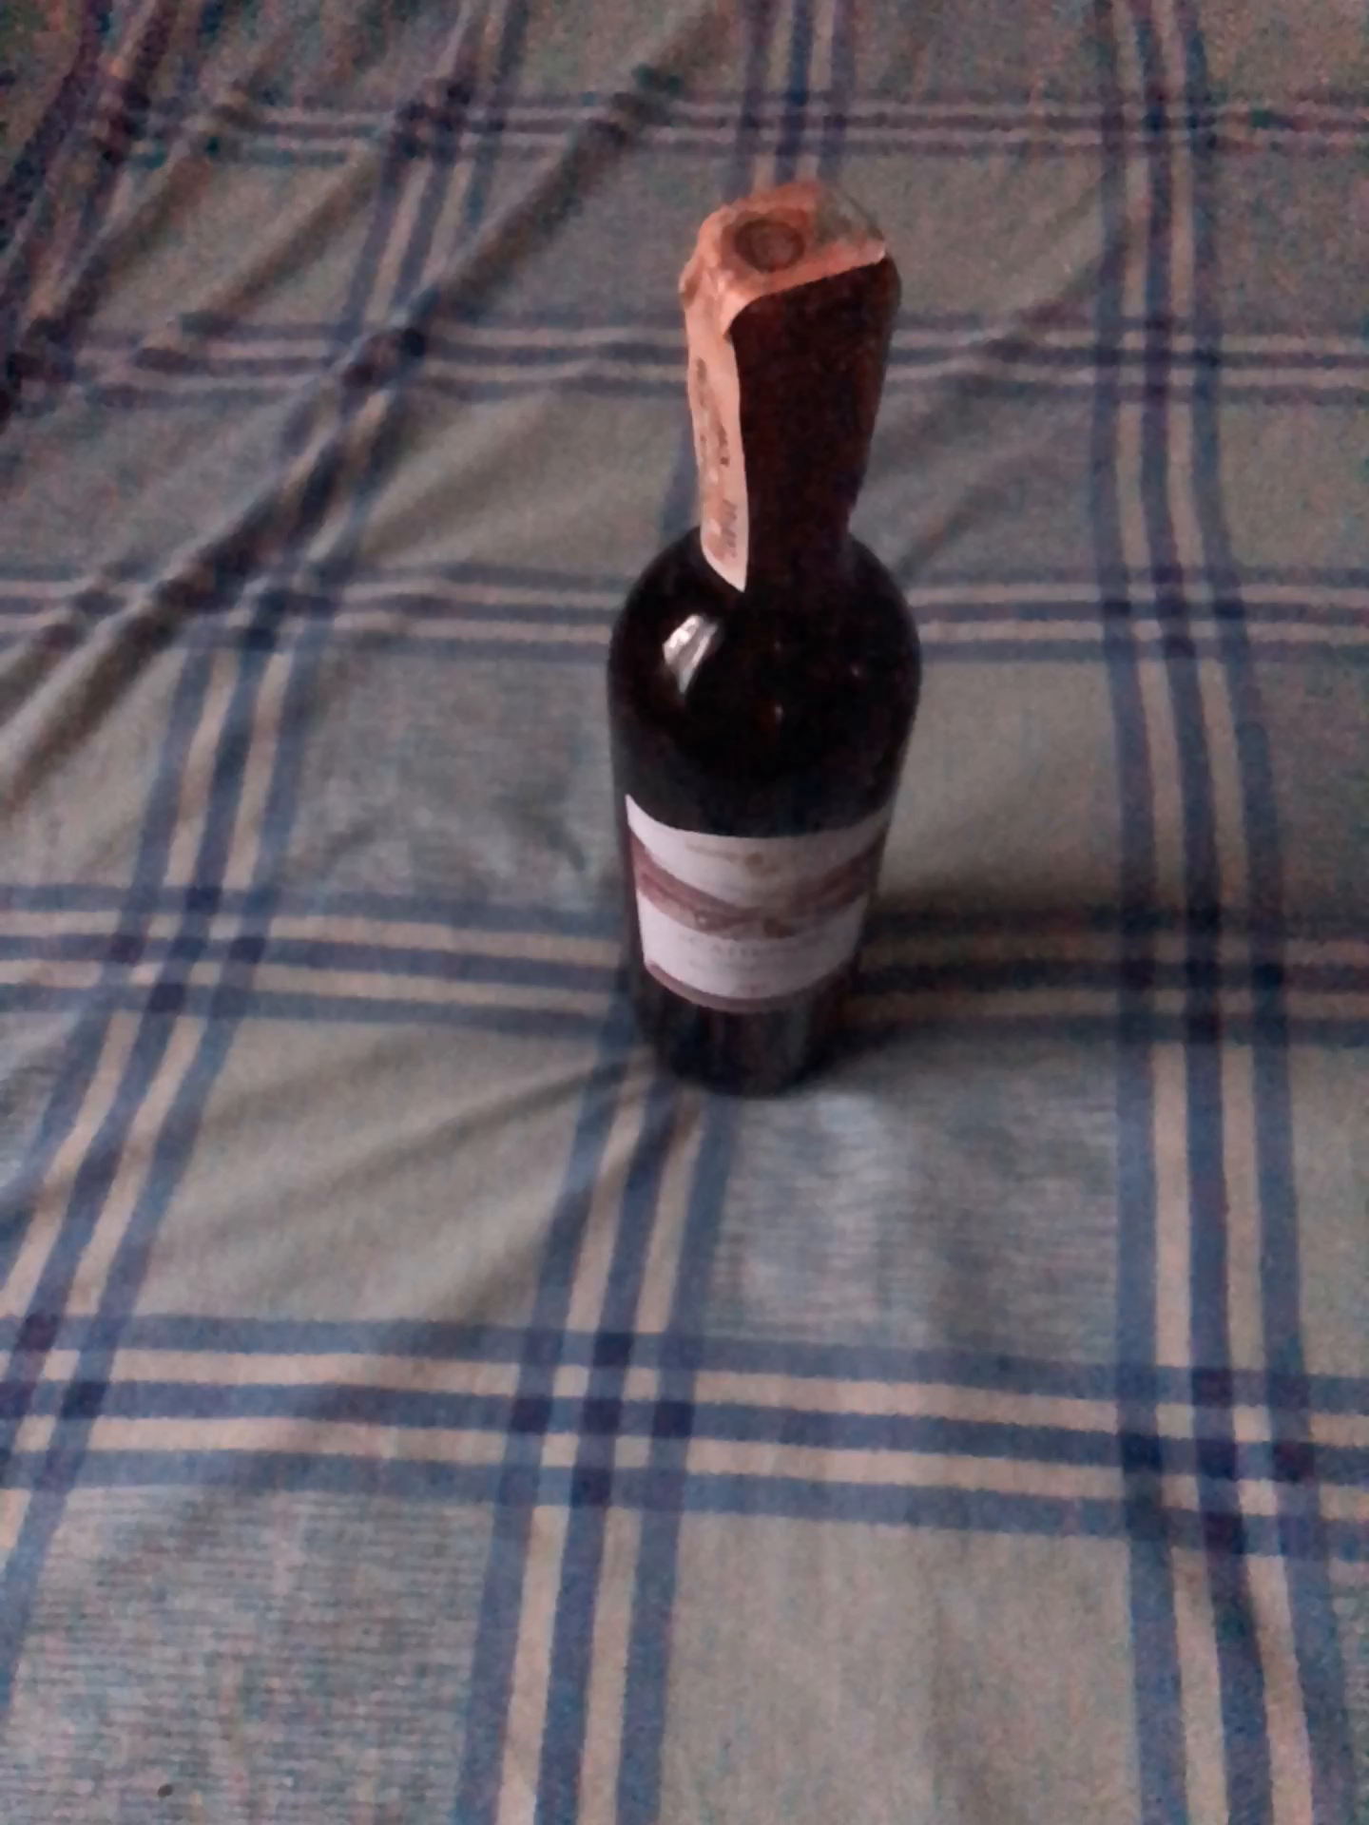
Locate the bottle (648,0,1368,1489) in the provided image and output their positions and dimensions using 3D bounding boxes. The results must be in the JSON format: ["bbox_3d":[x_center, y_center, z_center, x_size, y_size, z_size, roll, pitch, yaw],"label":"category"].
[{"bbox_3d":[0.057,0.014,0.255,0.081,0.305,0.071,25,64,17],"label":"bottle"}]
